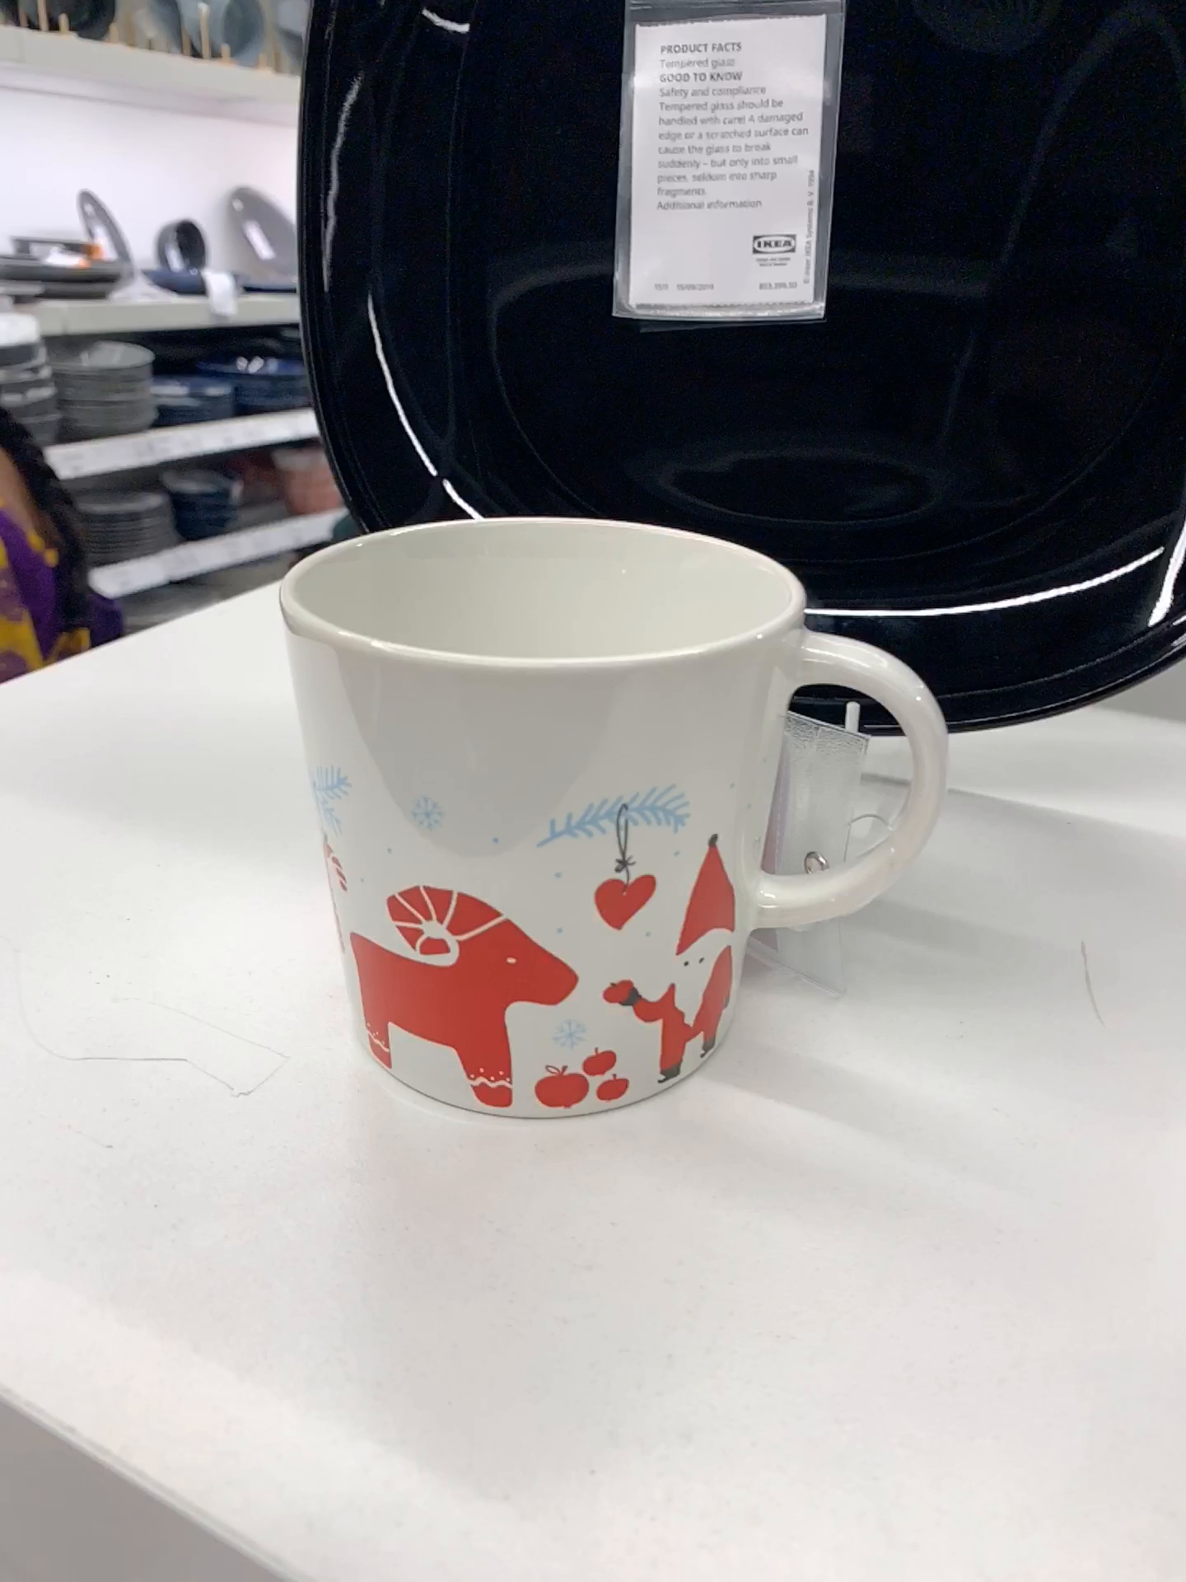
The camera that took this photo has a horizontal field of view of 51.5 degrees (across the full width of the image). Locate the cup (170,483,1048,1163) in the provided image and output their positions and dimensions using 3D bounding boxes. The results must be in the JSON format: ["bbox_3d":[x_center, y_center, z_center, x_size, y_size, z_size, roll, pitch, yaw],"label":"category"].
[{"bbox_3d":[0.002,-0.001,0.227,0.120,0.090,0.090,3,24,2],"label":"cup"}]
